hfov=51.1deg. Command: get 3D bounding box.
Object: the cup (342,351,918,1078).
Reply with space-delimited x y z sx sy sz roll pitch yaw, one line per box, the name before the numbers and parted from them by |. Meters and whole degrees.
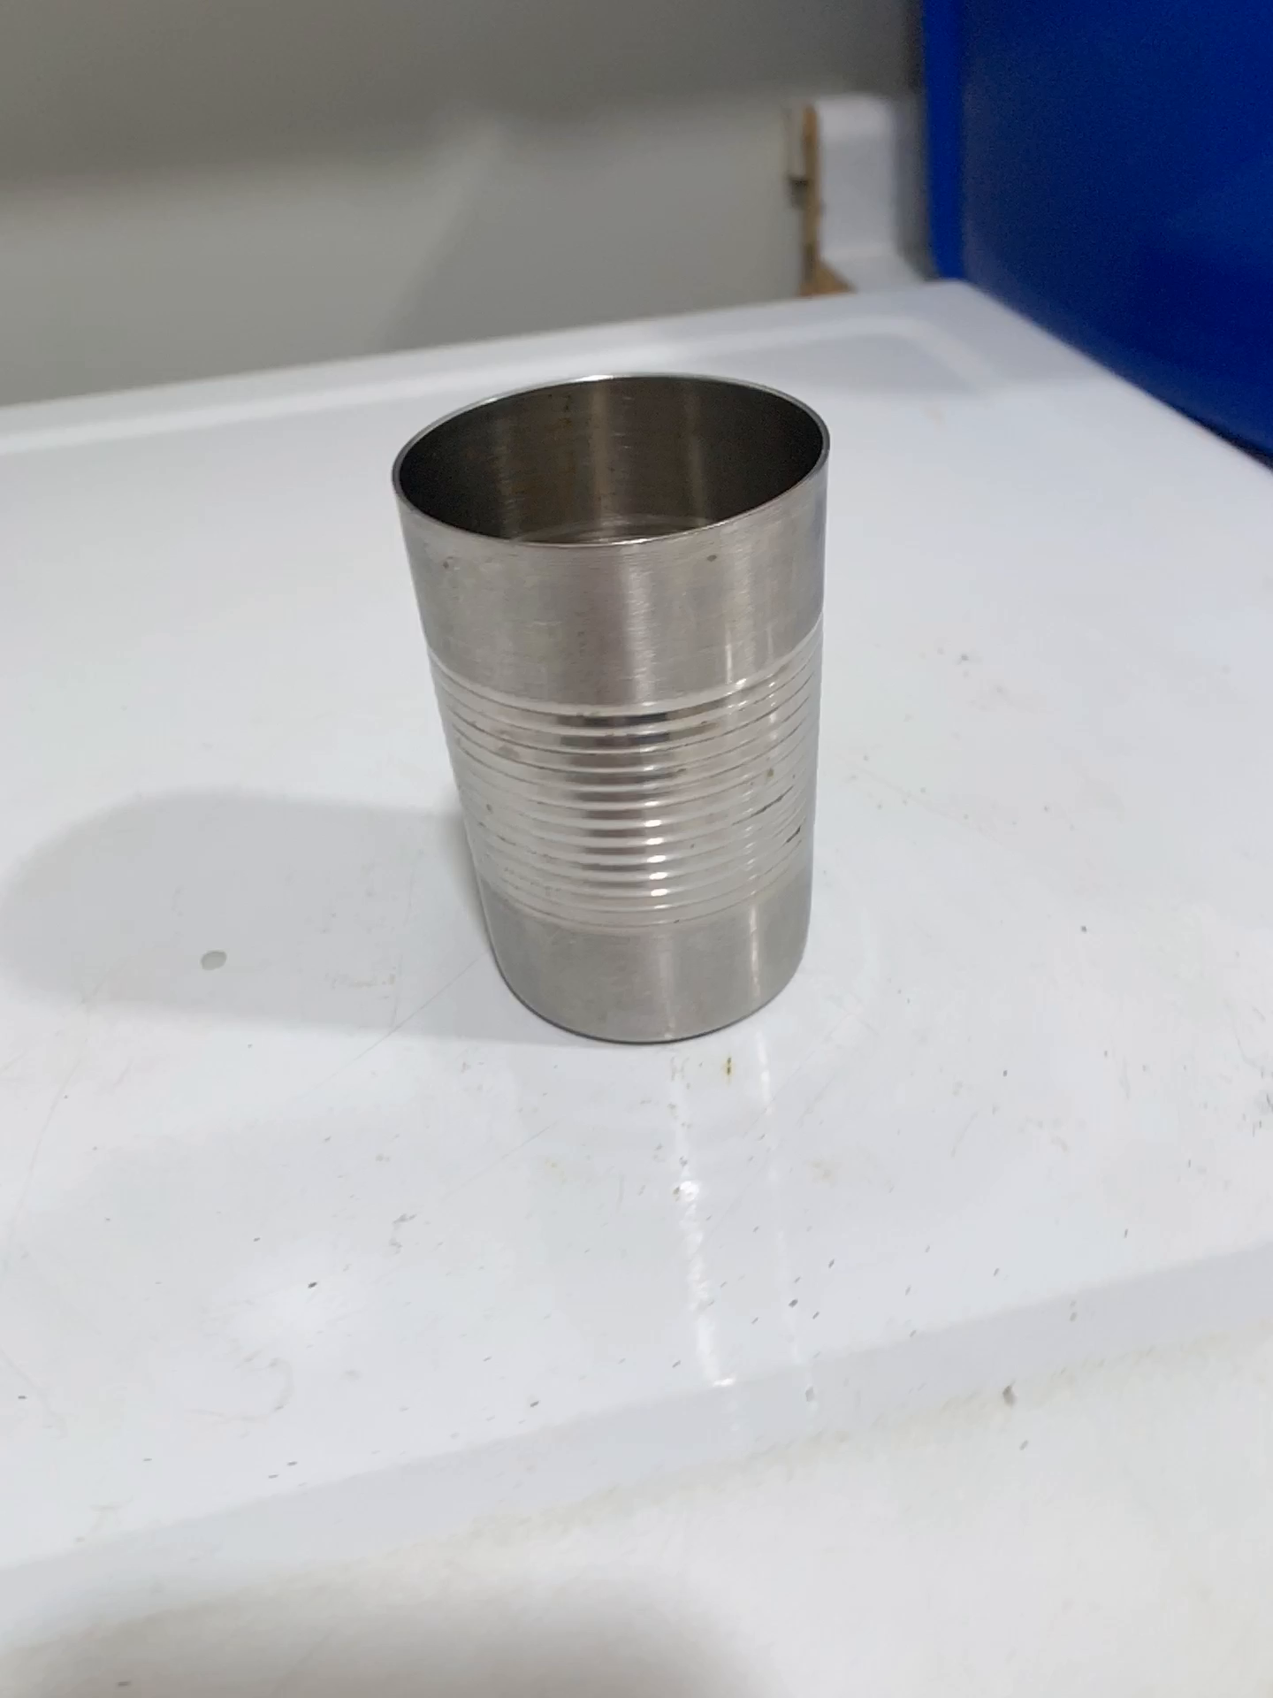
cup | 0.006 -0.025 0.230 0.070 0.095 0.071 -3 37 2
